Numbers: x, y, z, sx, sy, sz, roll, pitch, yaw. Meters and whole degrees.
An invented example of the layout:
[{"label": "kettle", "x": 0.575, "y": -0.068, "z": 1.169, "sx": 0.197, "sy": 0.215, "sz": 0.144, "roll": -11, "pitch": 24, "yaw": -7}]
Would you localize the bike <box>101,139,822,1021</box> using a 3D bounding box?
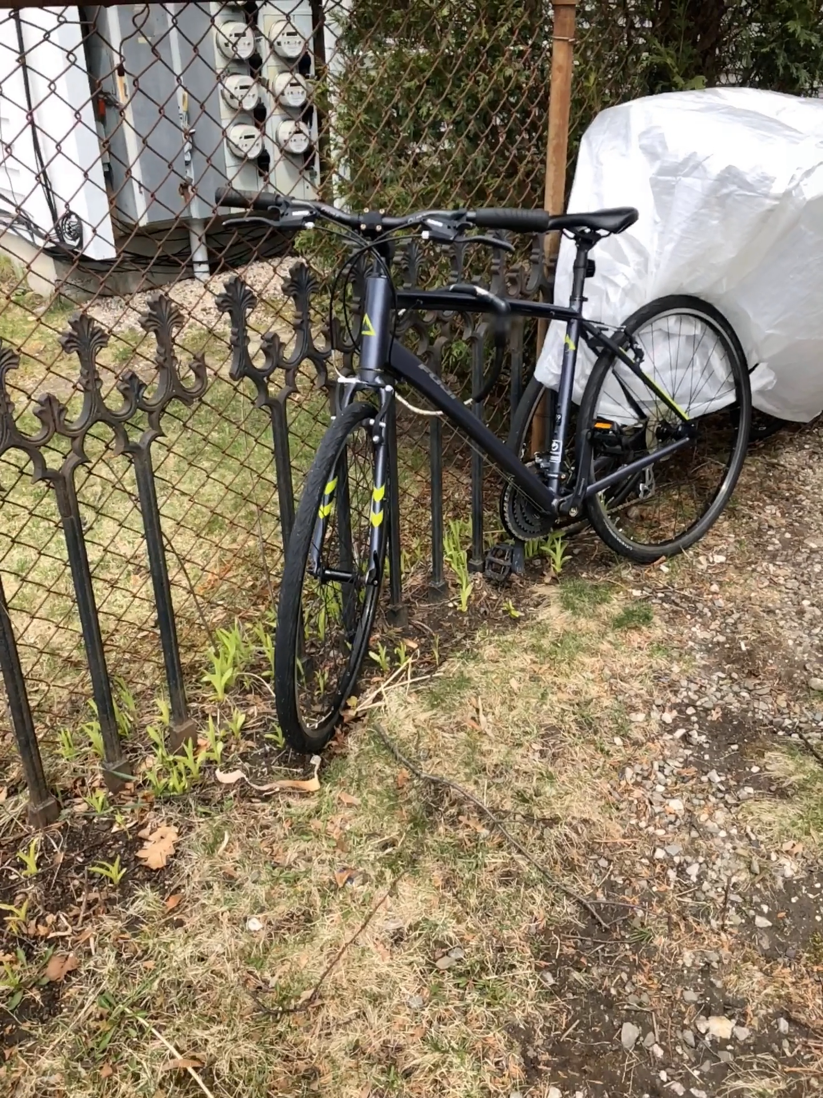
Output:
[{"label": "bike", "x": 0.406, "y": -0.264, "z": 2.265, "sx": 0.678, "sy": 1.346, "sz": 2.204, "roll": 22, "pitch": 33, "yaw": 32}]
